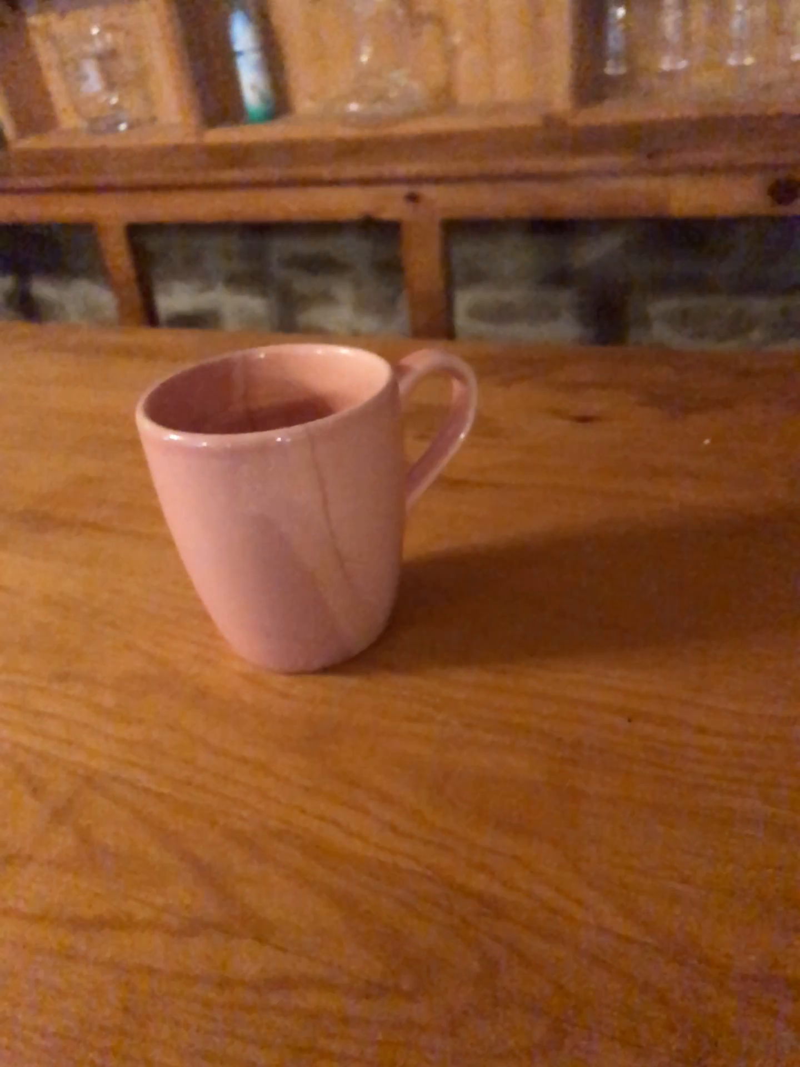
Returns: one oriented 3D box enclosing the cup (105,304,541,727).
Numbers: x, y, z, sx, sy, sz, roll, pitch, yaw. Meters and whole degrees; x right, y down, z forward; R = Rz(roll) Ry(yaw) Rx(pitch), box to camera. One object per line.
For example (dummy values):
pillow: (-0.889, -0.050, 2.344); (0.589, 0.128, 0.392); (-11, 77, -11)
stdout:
cup: (-0.022, -0.016, 0.332); (0.121, 0.095, 0.090); (-28, 36, -33)
